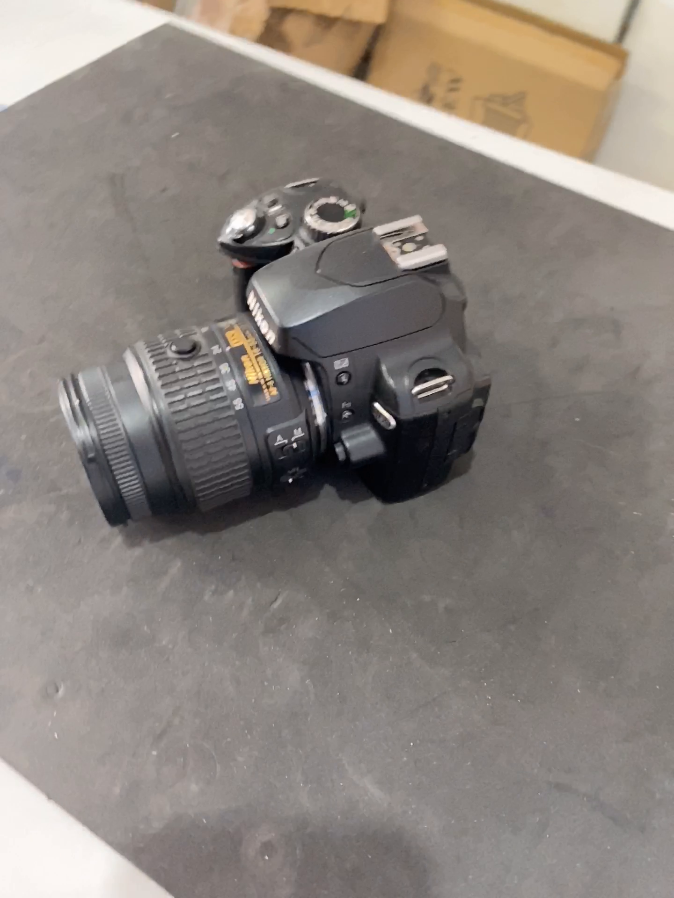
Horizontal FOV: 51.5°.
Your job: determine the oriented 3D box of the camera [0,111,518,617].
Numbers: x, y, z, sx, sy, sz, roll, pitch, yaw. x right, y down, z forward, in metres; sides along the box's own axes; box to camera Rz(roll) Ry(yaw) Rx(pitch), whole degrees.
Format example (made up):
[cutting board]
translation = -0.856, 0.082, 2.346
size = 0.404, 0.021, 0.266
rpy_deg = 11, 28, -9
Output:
[camera]
translation = -0.037, -0.038, 0.265
size = 0.140, 0.088, 0.130
rpy_deg = -22, 59, -16
